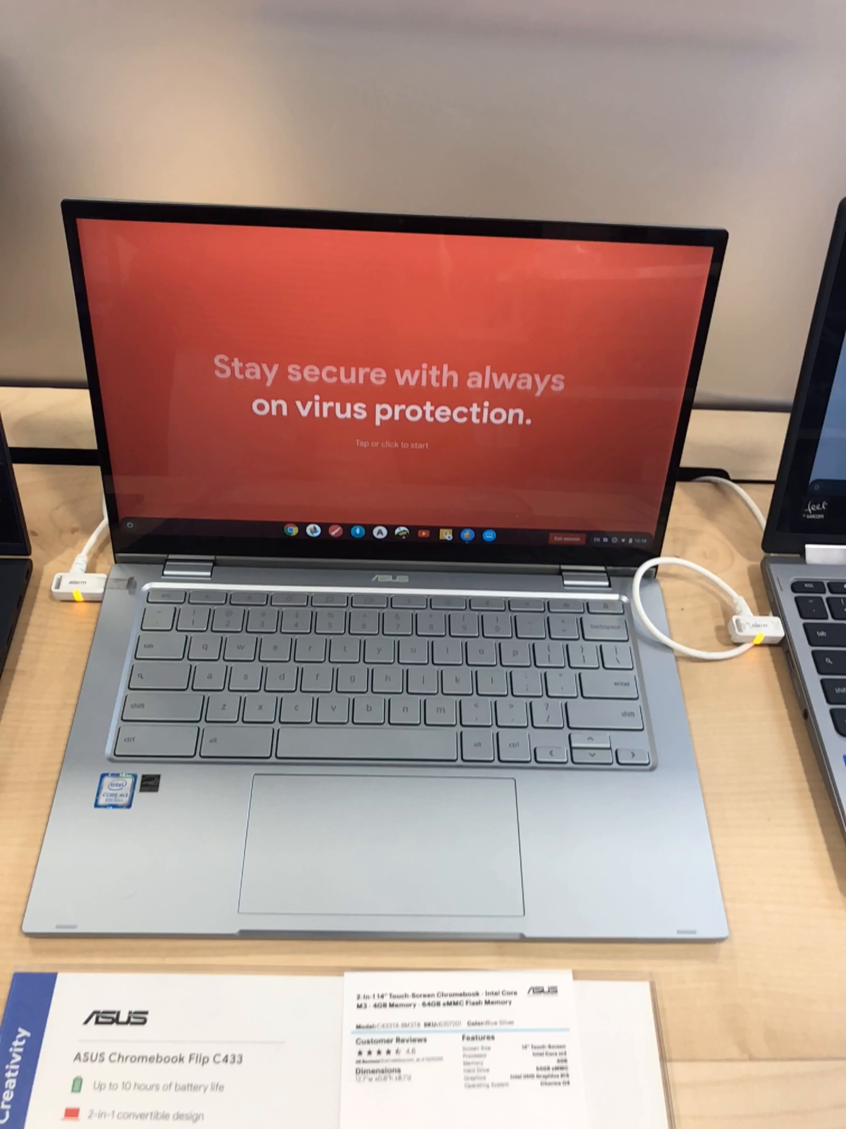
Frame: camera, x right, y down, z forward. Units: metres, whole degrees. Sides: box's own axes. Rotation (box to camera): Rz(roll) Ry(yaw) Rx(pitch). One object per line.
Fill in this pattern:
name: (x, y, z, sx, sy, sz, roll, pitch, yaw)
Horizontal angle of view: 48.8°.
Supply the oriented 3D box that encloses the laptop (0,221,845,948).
laptop: (-0.016, 0.000, 0.431, 0.309, 0.174, 0.283, 1, 51, -3)
